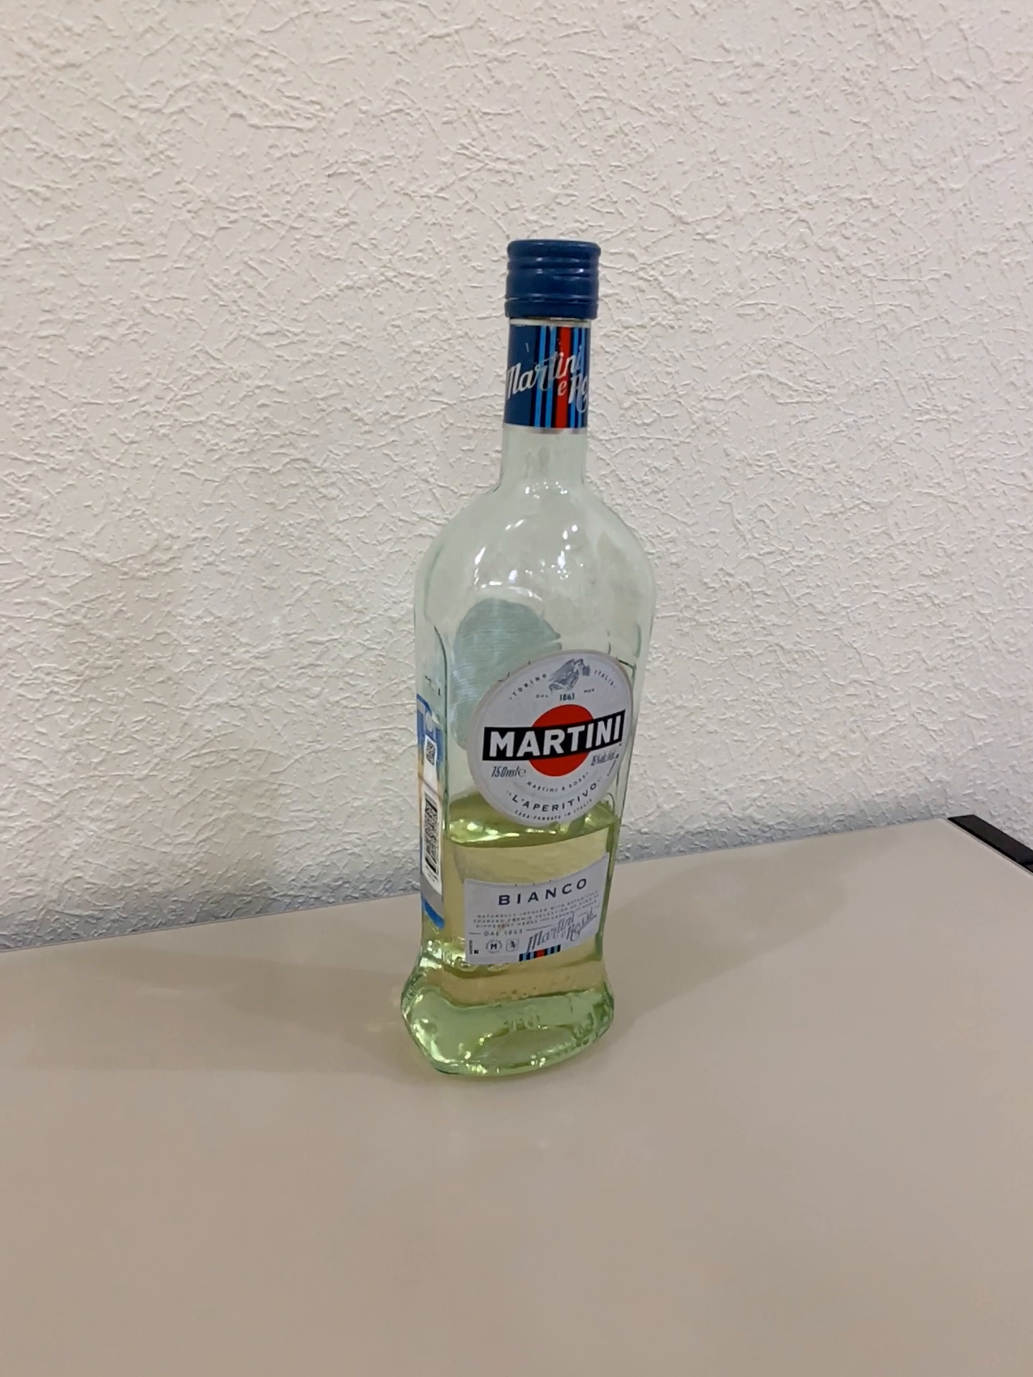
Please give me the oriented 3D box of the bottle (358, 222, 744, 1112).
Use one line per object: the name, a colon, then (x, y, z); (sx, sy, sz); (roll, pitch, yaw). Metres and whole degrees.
bottle: (0.002, -0.004, 0.406); (0.100, 0.309, 0.080); (-6, 21, -25)
